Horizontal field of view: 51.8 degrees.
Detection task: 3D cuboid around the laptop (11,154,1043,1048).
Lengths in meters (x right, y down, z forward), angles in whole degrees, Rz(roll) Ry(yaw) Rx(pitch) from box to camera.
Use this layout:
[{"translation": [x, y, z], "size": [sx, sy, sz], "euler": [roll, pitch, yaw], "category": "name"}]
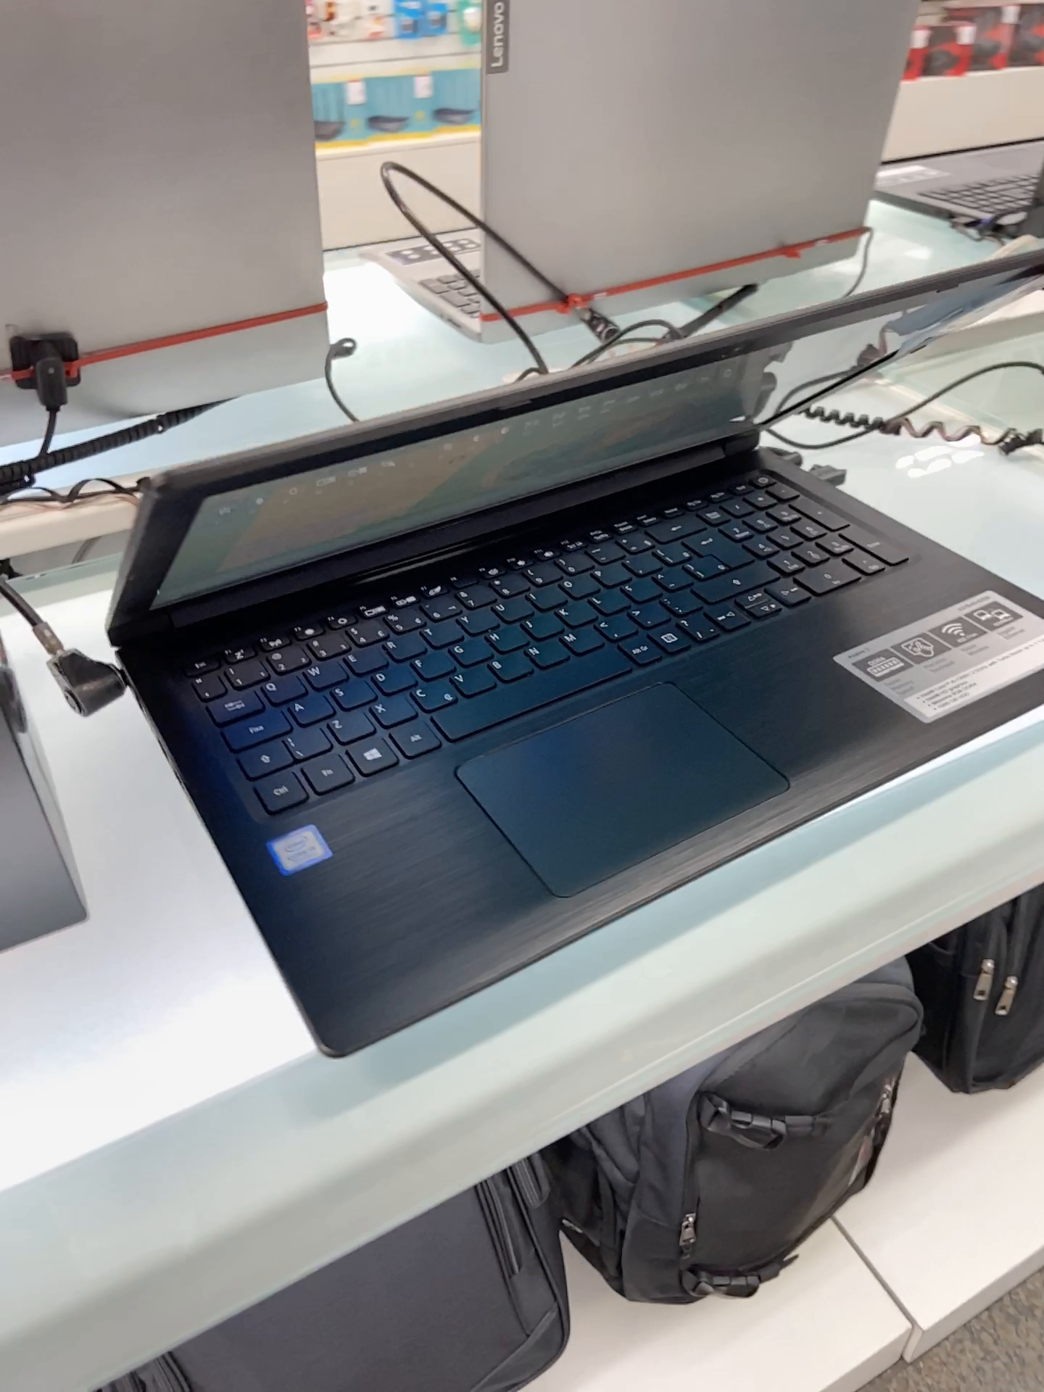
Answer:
[{"translation": [0.037, -0.082, 0.428], "size": [0.371, 0.157, 0.239], "euler": [-21, 43, -24], "category": "laptop"}]
